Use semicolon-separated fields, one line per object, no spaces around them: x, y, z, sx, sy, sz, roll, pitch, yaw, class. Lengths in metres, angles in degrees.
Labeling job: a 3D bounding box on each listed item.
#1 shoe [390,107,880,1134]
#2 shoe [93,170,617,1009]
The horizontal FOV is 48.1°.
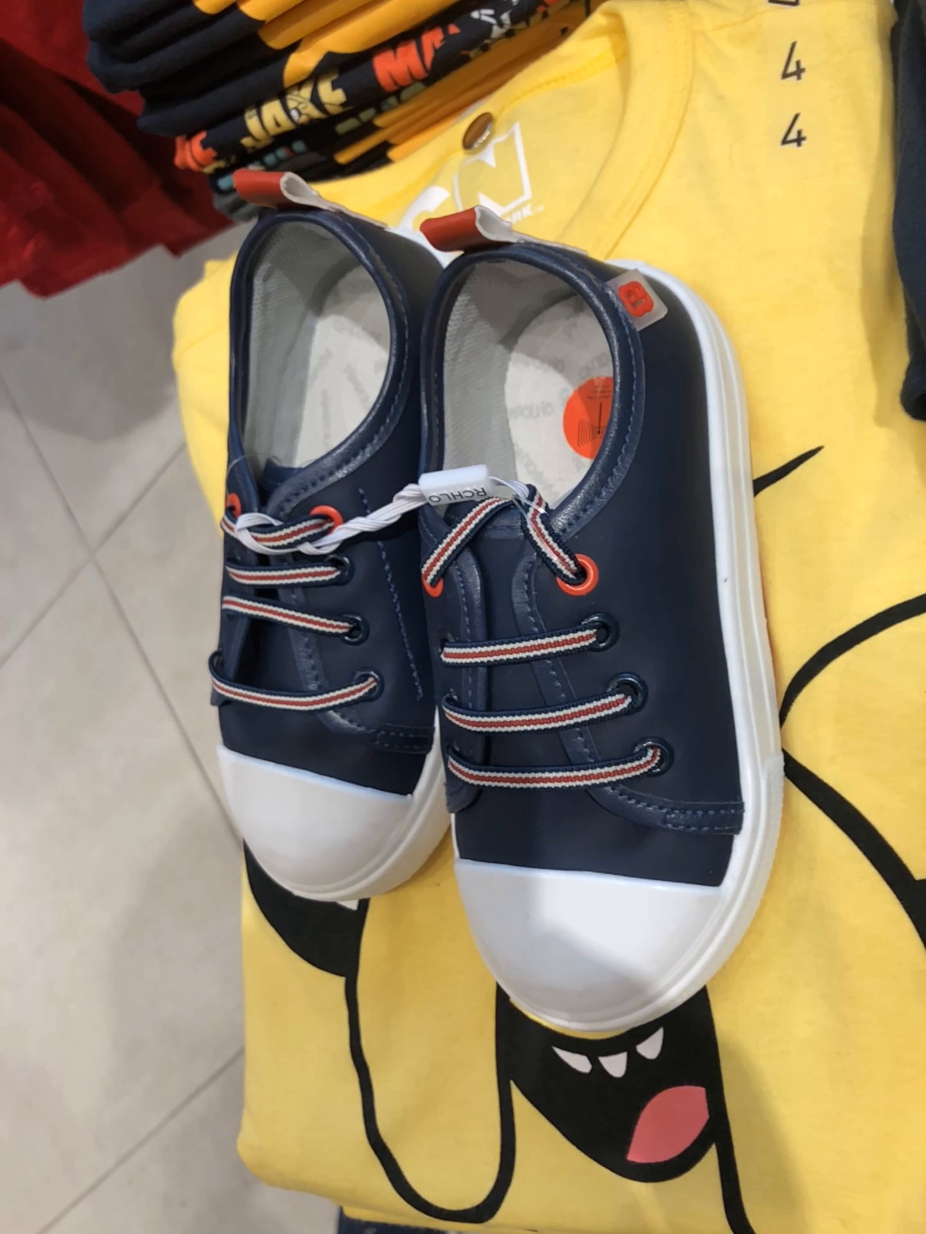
0.039;0.001;0.222;0.080;0.070;0.170;-1;89;32;shoe
-0.025;-0.009;0.247;0.080;0.070;0.160;10;95;33;shoe
